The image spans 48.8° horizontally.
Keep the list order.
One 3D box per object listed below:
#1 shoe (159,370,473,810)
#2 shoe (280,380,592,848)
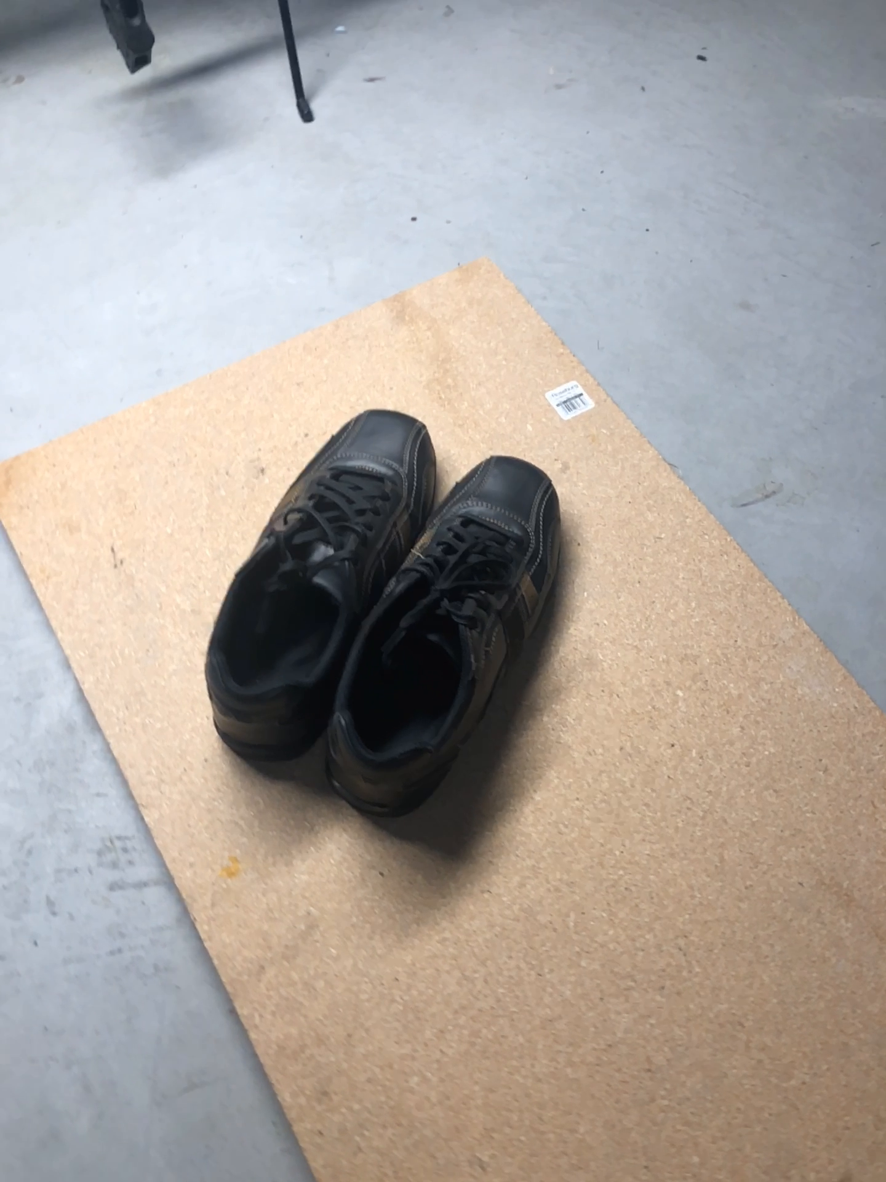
[{"bbox_3d":[-0.080,-0.010,0.716,0.100,0.100,0.300,20,59,6],"label":"shoe"},{"bbox_3d":[0.009,0.007,0.661,0.100,0.100,0.290,16,63,15],"label":"shoe"}]
